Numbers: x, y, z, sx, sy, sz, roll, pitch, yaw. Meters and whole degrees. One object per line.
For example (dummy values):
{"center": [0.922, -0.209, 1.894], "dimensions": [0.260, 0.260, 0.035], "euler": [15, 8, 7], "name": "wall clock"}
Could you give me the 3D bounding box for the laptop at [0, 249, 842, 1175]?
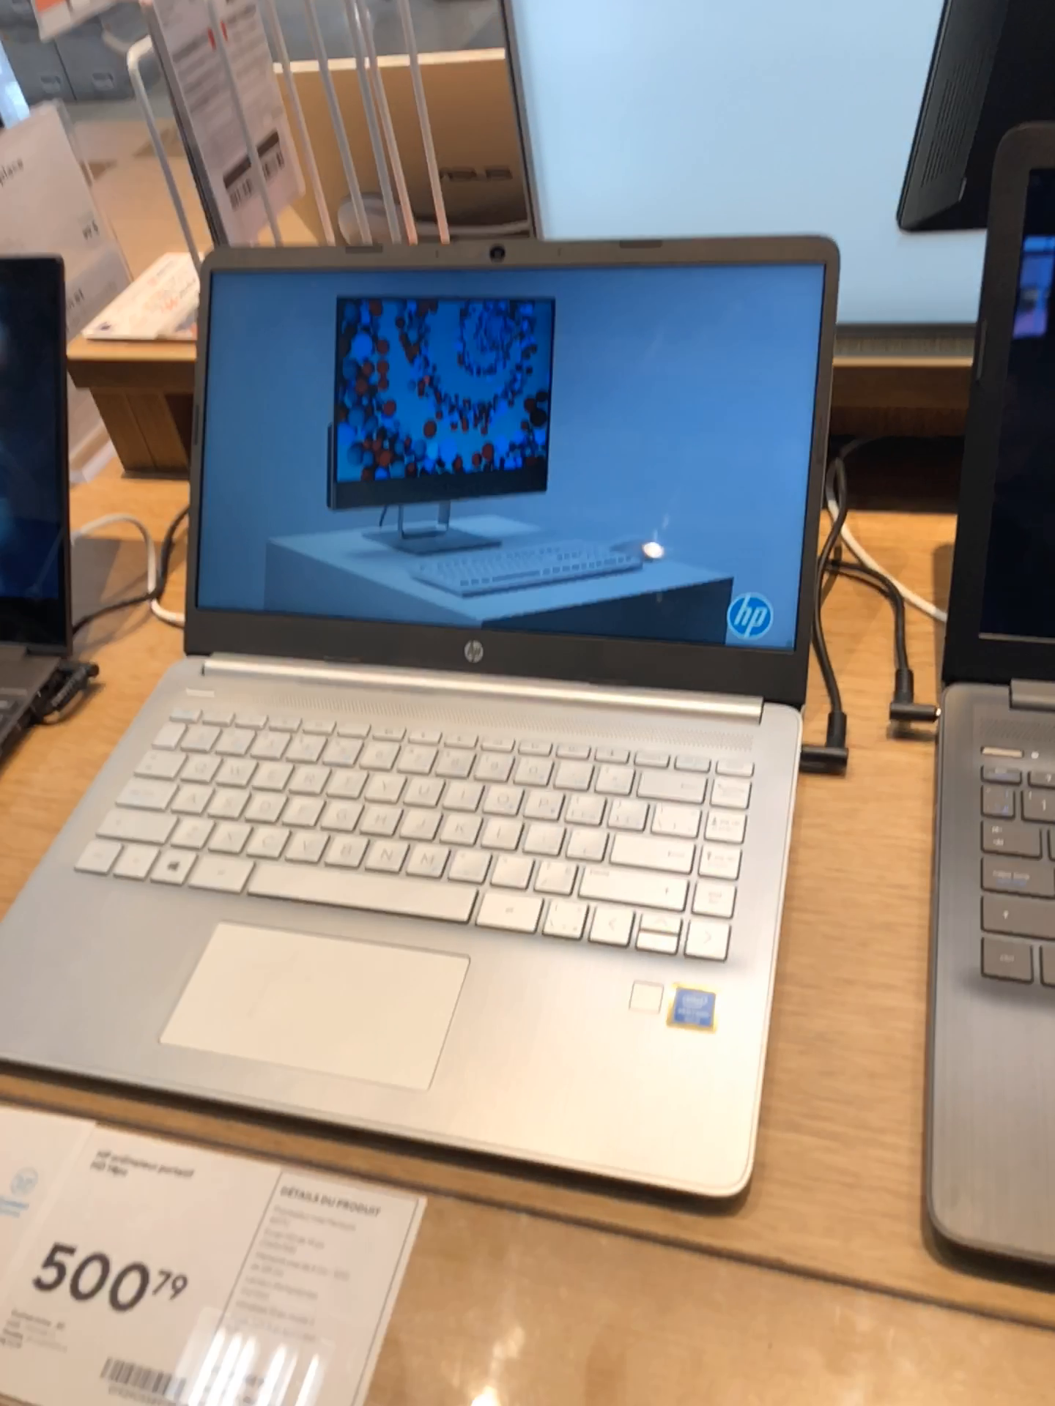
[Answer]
{"center": [-0.043, -0.031, 0.493], "dimensions": [0.308, 0.167, 0.347], "euler": [4, 44, 18], "name": "laptop"}
